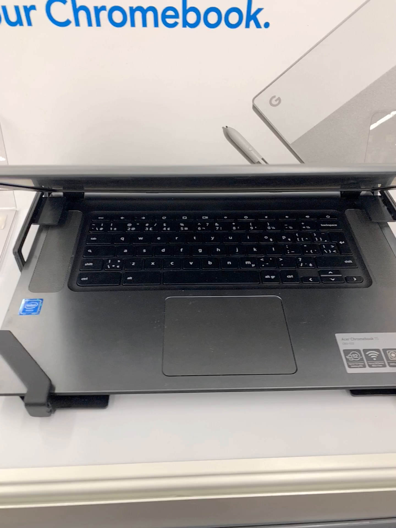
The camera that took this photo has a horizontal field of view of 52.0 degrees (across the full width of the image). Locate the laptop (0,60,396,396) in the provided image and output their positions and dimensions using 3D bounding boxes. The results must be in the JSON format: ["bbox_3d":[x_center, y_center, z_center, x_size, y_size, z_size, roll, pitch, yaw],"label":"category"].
[{"bbox_3d":[0.018,-0.036,0.269,0.303,0.119,0.198,0,45,-2],"label":"laptop"}]
